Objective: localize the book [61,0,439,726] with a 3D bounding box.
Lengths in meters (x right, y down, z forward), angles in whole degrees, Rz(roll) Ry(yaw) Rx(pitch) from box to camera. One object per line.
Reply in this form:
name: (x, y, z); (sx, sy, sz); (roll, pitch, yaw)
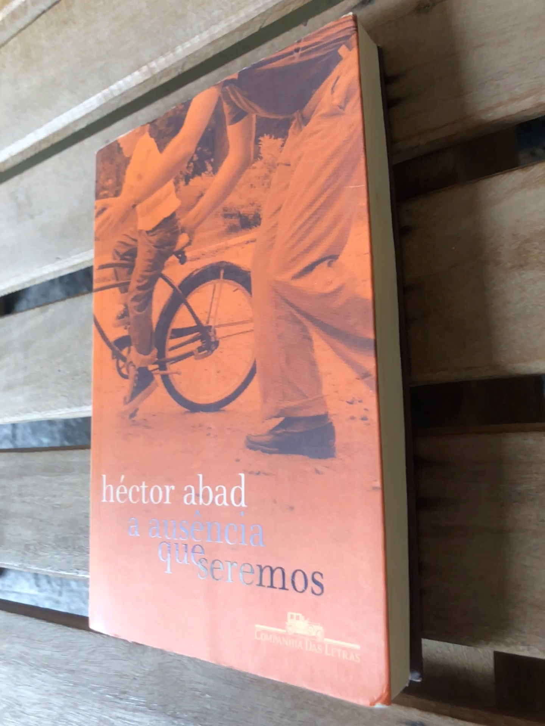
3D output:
book: (-0.021, -0.002, 0.211); (0.143, 0.020, 0.200); (-8, 79, 38)
